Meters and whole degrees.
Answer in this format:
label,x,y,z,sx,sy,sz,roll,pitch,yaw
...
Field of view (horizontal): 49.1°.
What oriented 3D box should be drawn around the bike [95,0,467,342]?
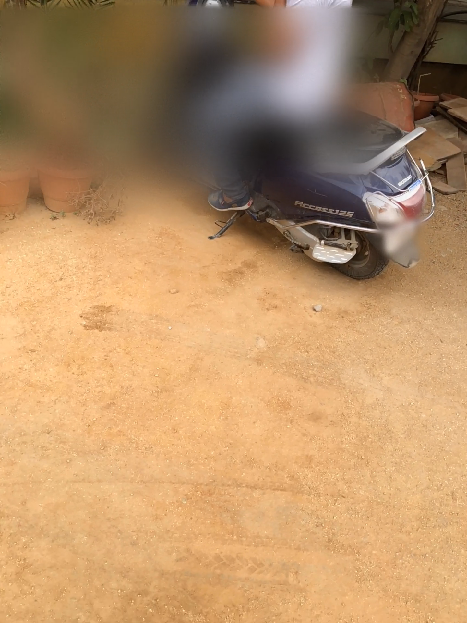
label,x,y,z,sx,sy,sz,roll,pitch,yaw
bike,0.080,-0.881,2.493,1.623,1.221,0.591,32,43,29
